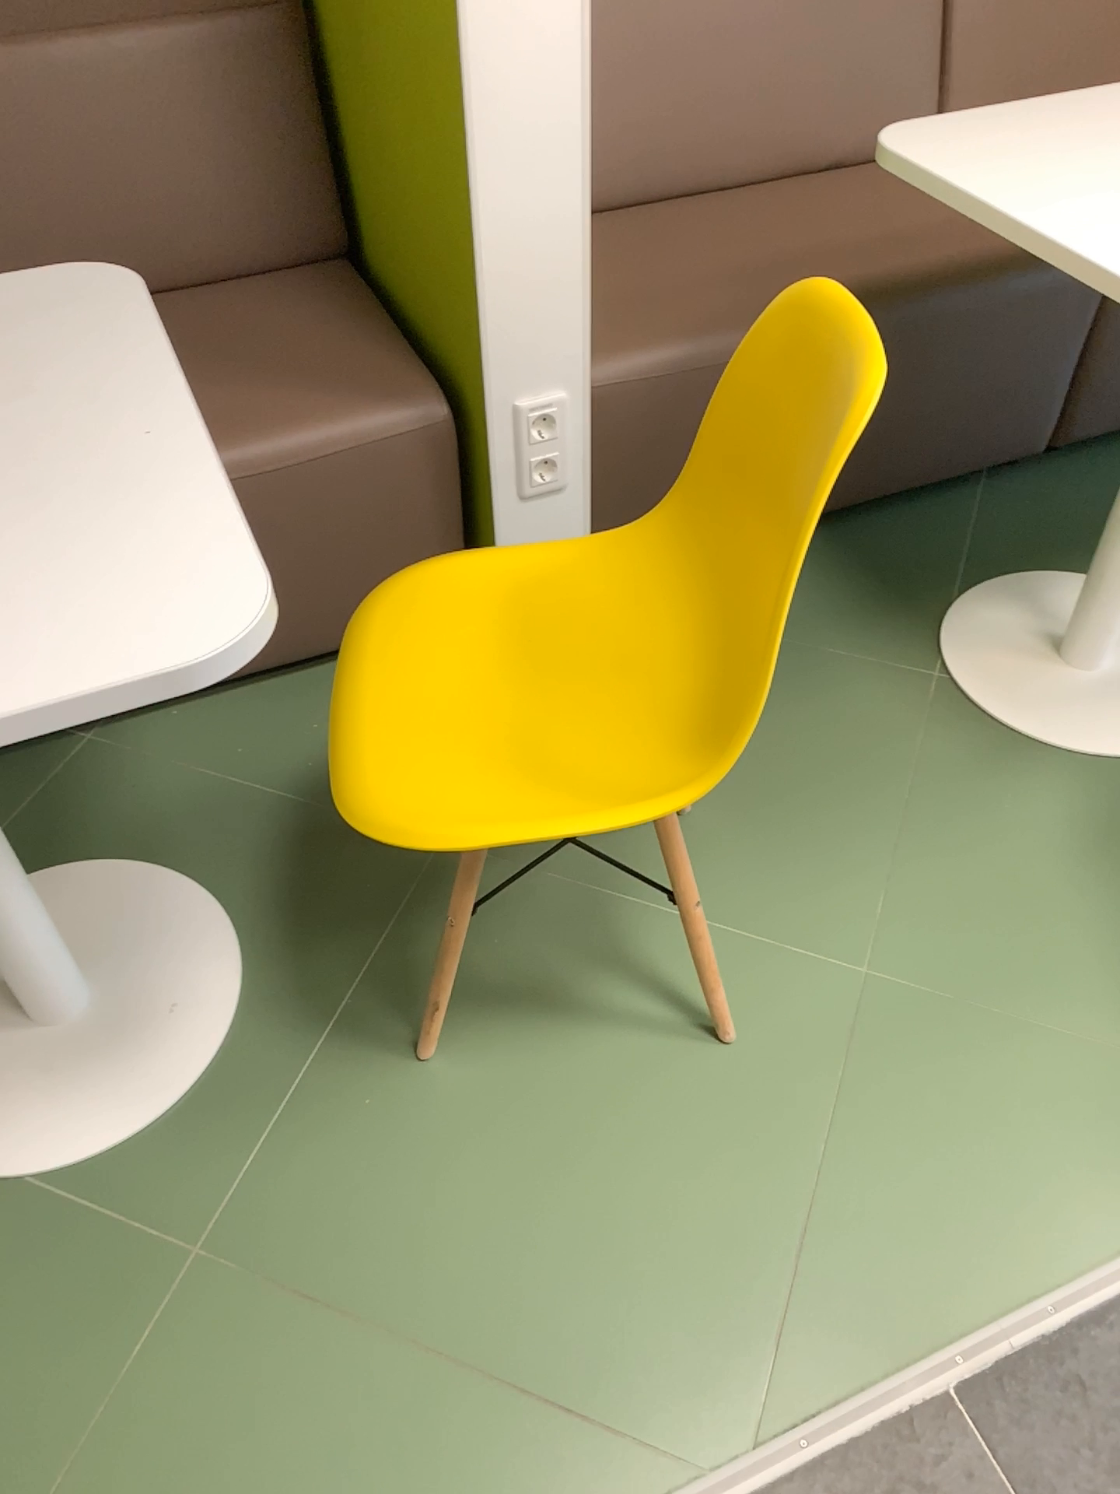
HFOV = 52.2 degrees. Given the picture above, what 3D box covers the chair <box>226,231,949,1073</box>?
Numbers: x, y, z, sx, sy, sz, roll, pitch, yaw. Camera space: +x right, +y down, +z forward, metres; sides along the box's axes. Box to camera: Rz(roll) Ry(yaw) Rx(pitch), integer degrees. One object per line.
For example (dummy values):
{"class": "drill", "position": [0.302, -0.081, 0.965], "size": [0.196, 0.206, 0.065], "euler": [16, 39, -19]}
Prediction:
{"class": "chair", "position": [0.010, -0.057, 1.252], "size": [0.520, 0.815, 0.412], "euler": [-4, 45, -3]}
